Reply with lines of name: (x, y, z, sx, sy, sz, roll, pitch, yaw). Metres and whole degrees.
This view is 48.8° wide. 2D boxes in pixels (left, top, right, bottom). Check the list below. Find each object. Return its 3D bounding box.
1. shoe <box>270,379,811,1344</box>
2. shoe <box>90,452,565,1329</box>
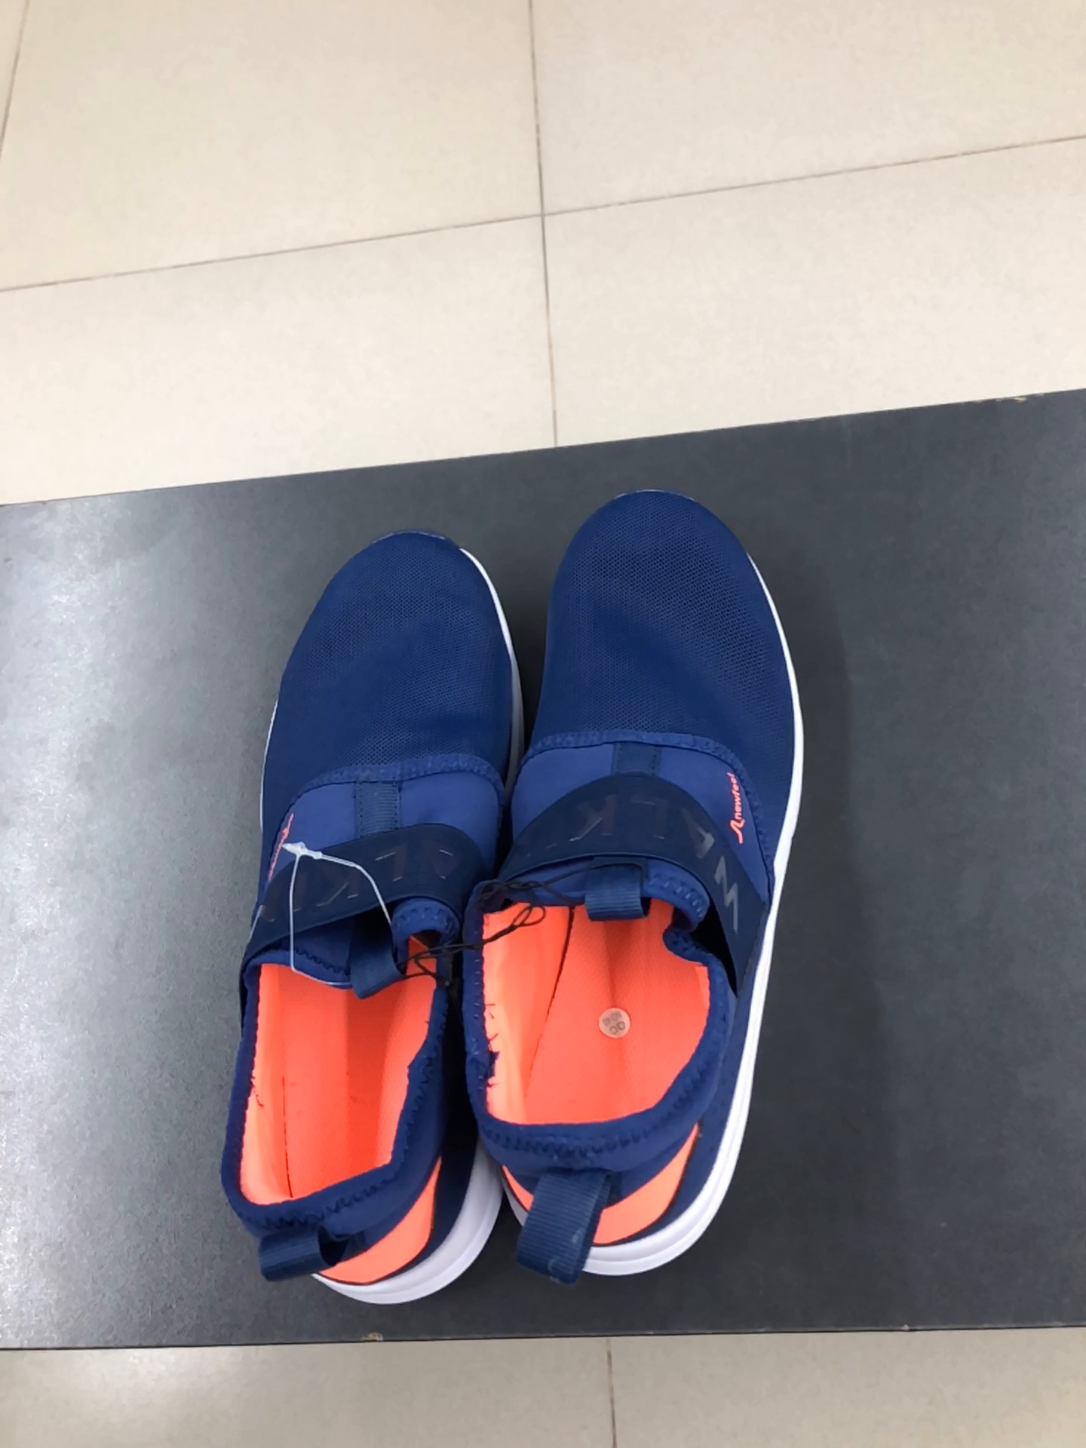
shoe: (0.018, 0.038, 0.357, 0.110, 0.120, 0.241, 0, 68, 15)
shoe: (-0.054, 0.055, 0.410, 0.110, 0.120, 0.261, -3, 67, 7)
